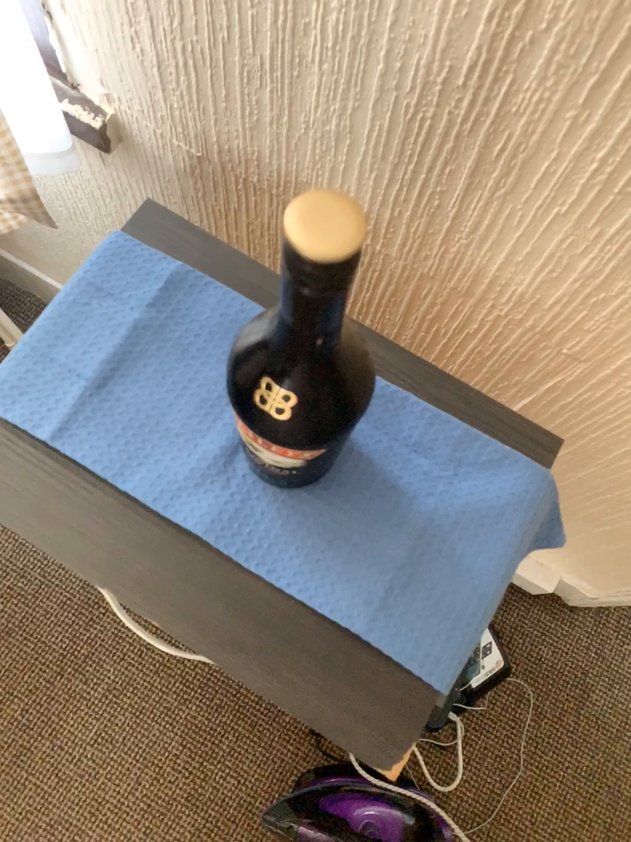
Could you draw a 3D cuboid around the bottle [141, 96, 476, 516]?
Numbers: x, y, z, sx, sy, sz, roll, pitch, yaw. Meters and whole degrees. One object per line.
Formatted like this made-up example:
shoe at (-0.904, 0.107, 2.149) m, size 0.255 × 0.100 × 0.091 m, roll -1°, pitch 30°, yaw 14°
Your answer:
bottle at (-0.011, -0.023, 0.353) m, size 0.090 × 0.289 × 0.070 m, roll 31°, pitch 73°, yaw 6°
